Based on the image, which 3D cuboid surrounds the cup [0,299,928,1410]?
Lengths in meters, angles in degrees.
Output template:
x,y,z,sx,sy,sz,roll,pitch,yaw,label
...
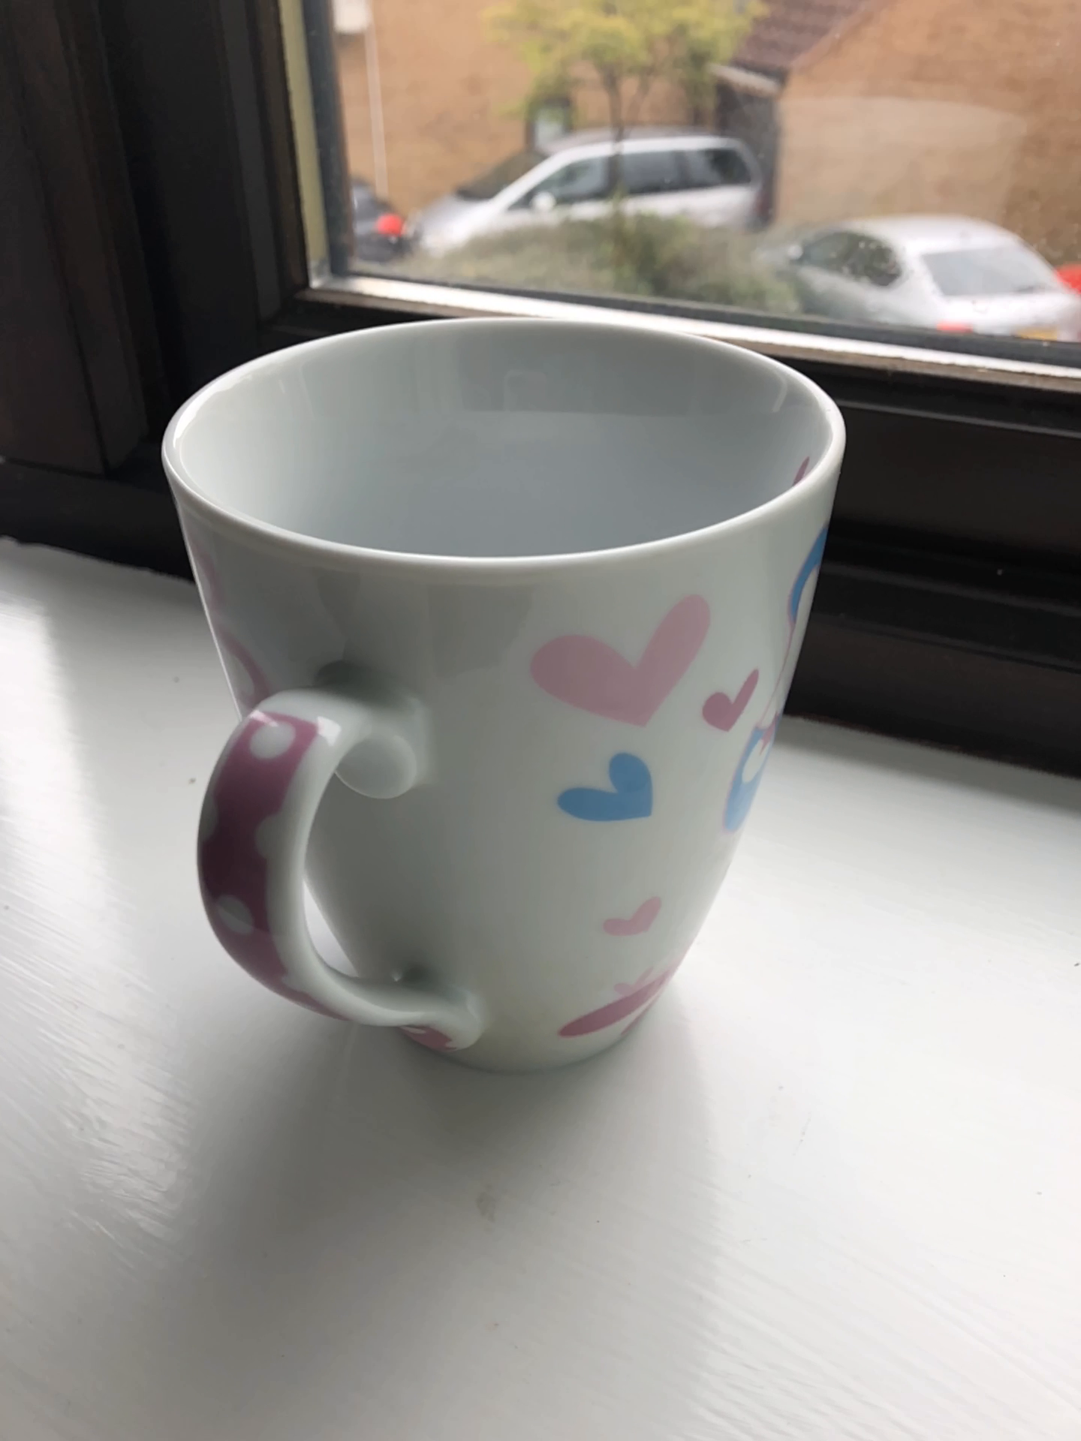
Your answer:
x,y,z,sx,sy,sz,roll,pitch,yaw,label
-0.006,0.000,0.193,0.110,0.089,0.141,9,34,15,cup
